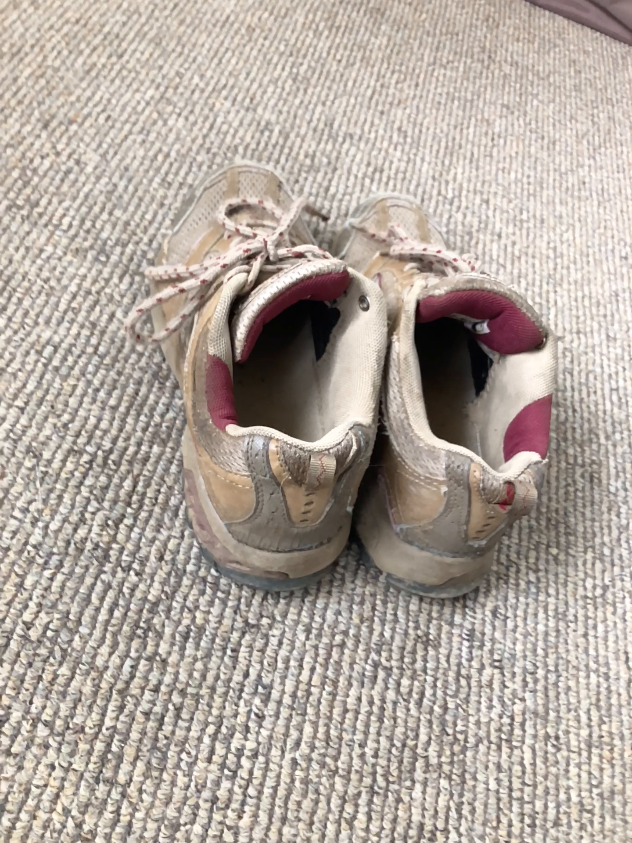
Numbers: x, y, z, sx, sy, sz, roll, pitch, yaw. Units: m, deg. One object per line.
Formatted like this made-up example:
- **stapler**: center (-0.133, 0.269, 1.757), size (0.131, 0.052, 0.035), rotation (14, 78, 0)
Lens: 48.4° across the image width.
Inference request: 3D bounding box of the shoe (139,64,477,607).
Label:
- **shoe**: center (-0.027, -0.054, 0.392), size (0.111, 0.118, 0.271), rotation (0, 58, -21)

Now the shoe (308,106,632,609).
- **shoe**: center (0.074, -0.042, 0.426), size (0.112, 0.123, 0.272), rotation (7, 56, -17)
